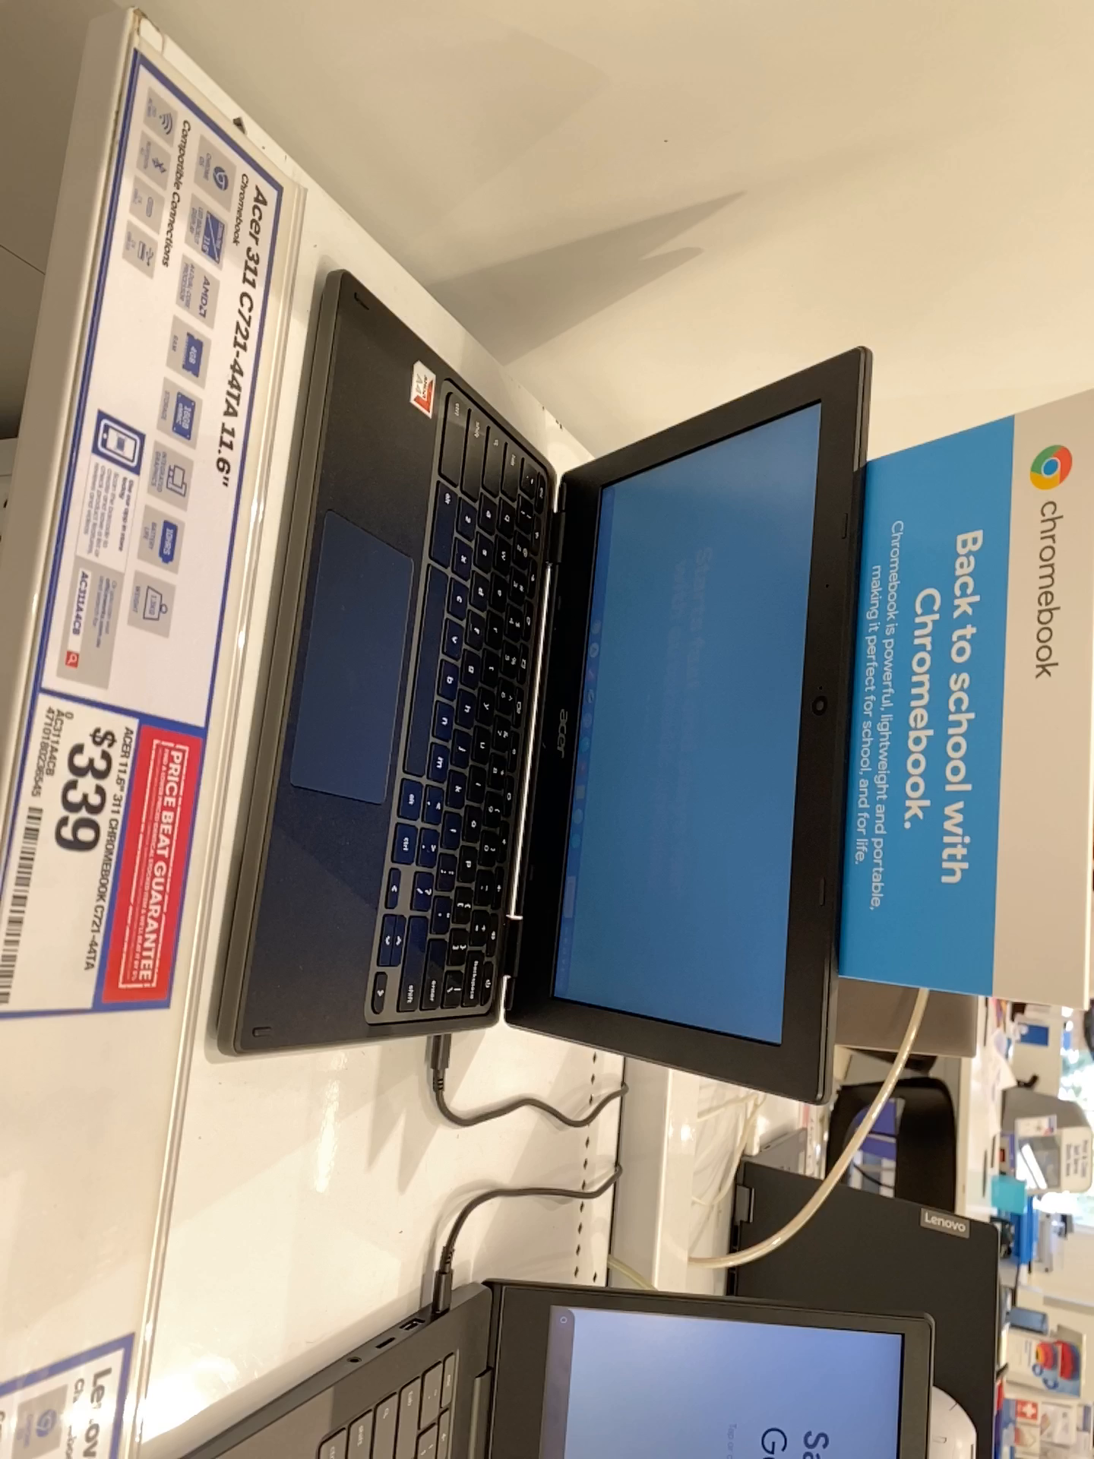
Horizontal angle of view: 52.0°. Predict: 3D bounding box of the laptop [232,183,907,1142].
[{"bbox_3d":[0.031,-0.013,0.457,0.202,0.181,0.289,23,70,-63],"label":"laptop"}]
